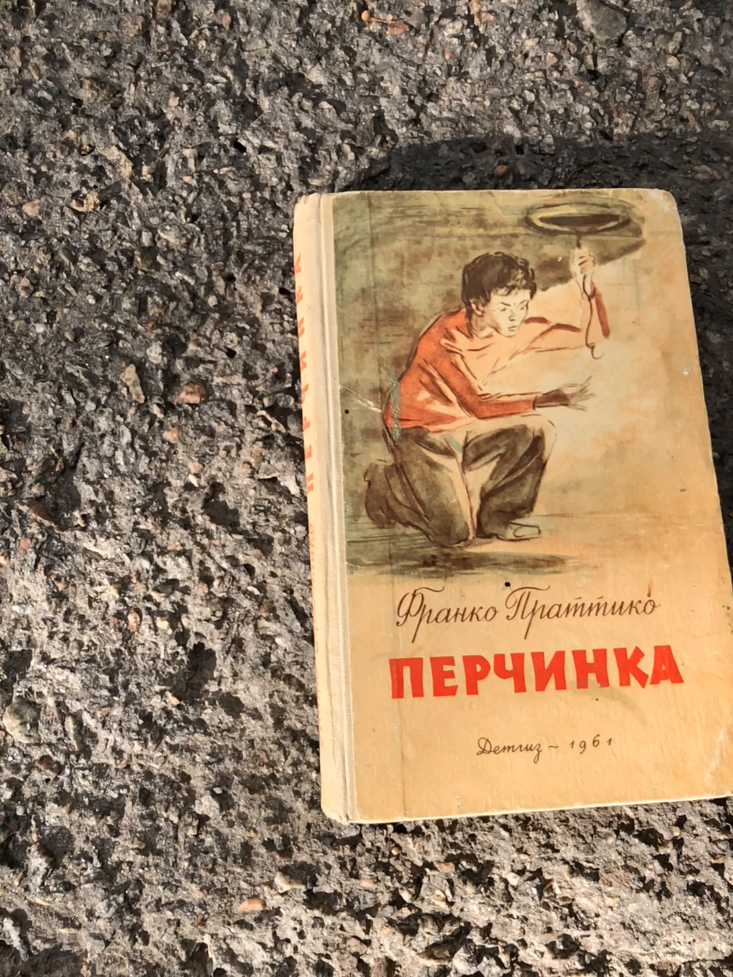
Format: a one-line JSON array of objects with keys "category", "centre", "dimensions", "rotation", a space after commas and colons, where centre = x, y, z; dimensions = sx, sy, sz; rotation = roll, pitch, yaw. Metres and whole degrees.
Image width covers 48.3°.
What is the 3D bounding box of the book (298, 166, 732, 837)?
[{"category": "book", "centre": [0.047, -0.003, 0.265], "dimensions": [0.132, 0.030, 0.203], "rotation": [-1, 79, -7]}]
